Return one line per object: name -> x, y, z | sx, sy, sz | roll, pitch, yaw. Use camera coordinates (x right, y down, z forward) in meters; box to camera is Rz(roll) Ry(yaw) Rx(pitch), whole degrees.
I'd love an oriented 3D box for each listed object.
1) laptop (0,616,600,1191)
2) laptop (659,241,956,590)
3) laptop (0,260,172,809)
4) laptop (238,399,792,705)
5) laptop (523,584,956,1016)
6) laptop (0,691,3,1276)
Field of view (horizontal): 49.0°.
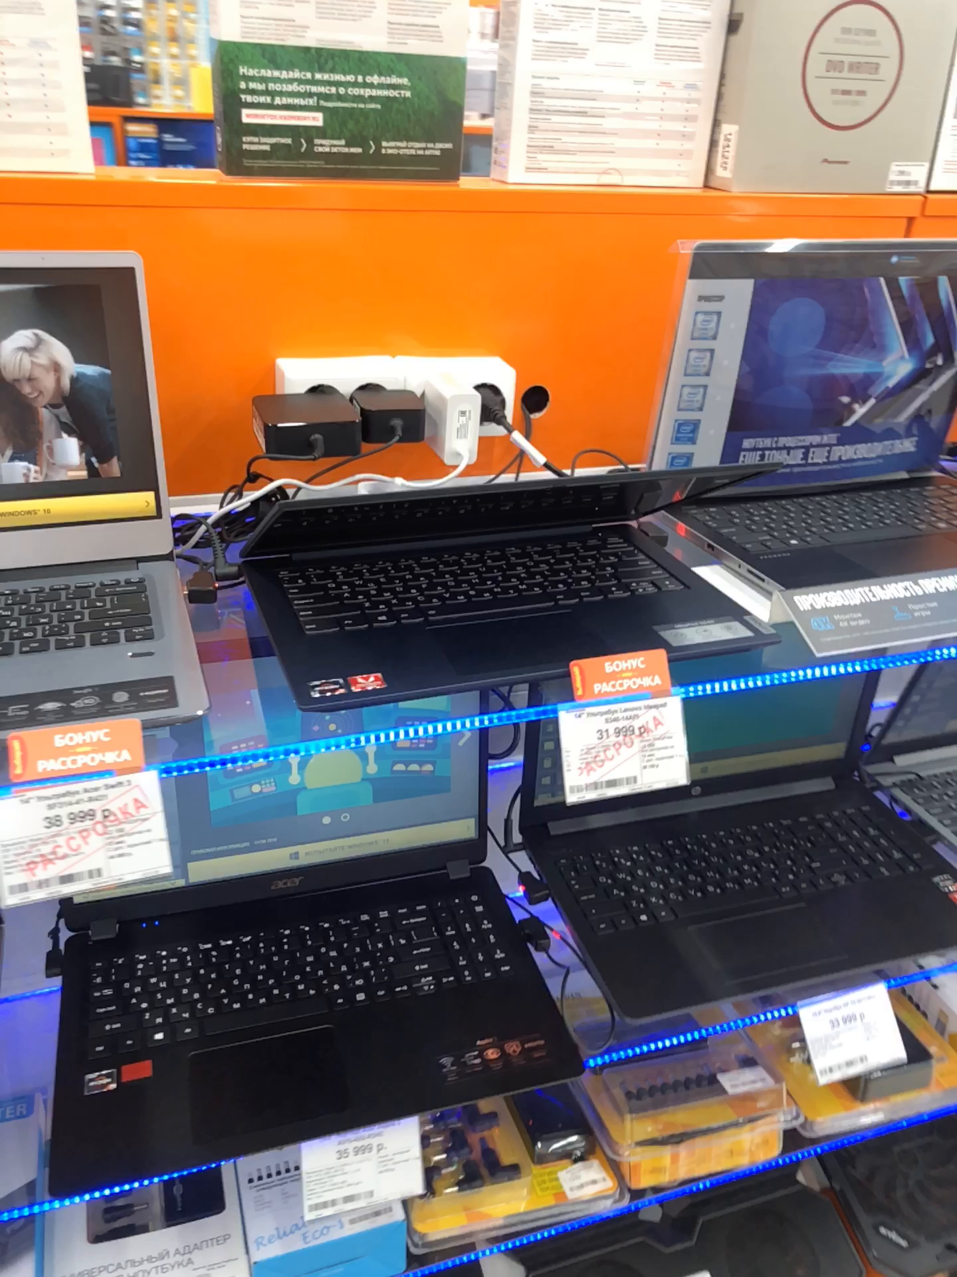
laptop -> -0.122, 0.158, 0.740 | 0.342, 0.230, 0.247 | -6, 27, -15
laptop -> 0.333, -0.195, 0.835 | 0.306, 0.213, 0.229 | -6, 26, -16
laptop -> -0.341, -0.083, 0.567 | 0.315, 0.203, 0.225 | -6, 27, -18
laptop -> 0.009, -0.074, 0.700 | 0.299, 0.106, 0.212 | -7, 27, -17
laptop -> 0.243, 0.113, 0.869 | 0.353, 0.215, 0.226 | -6, 26, -15
laptop -> -0.499, 0.200, 0.616 | 0.348, 0.208, 0.236 | -6, 27, -20
